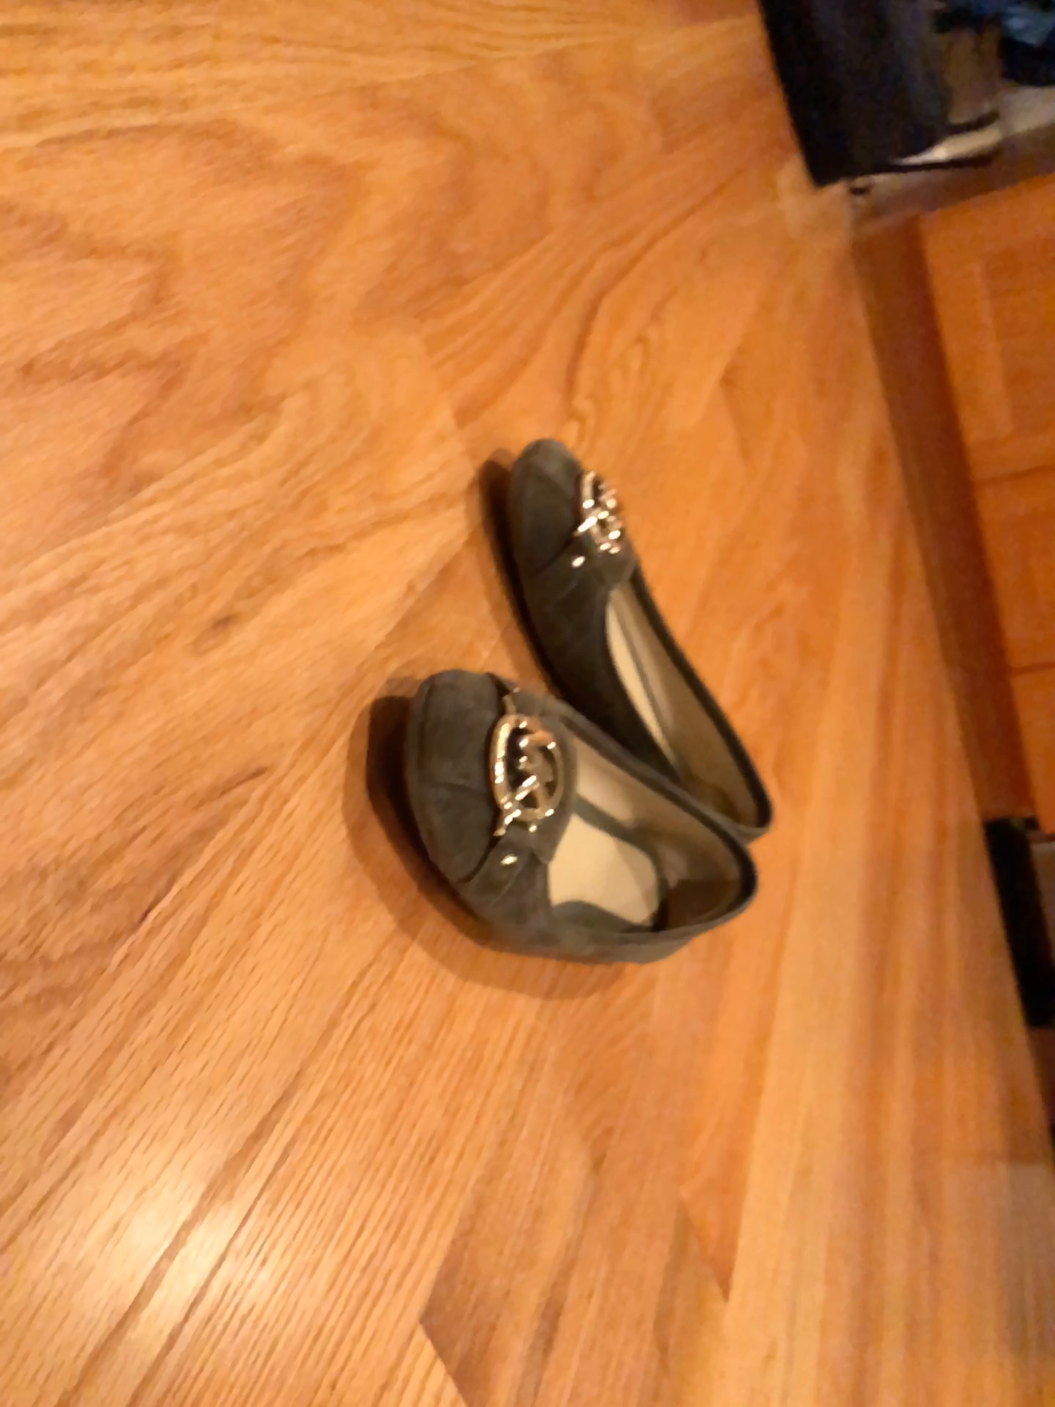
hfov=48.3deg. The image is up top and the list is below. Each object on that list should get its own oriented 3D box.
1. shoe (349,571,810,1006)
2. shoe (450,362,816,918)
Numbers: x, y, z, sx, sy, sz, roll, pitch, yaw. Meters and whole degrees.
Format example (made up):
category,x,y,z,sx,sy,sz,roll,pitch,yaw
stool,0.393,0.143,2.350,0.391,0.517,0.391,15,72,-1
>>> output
category,x,y,z,sx,sy,sz,roll,pitch,yaw
shoe,0.037,0.051,0.456,0.243,0.079,0.091,39,47,-55
shoe,0.061,-0.018,0.543,0.240,0.079,0.091,63,29,-32
